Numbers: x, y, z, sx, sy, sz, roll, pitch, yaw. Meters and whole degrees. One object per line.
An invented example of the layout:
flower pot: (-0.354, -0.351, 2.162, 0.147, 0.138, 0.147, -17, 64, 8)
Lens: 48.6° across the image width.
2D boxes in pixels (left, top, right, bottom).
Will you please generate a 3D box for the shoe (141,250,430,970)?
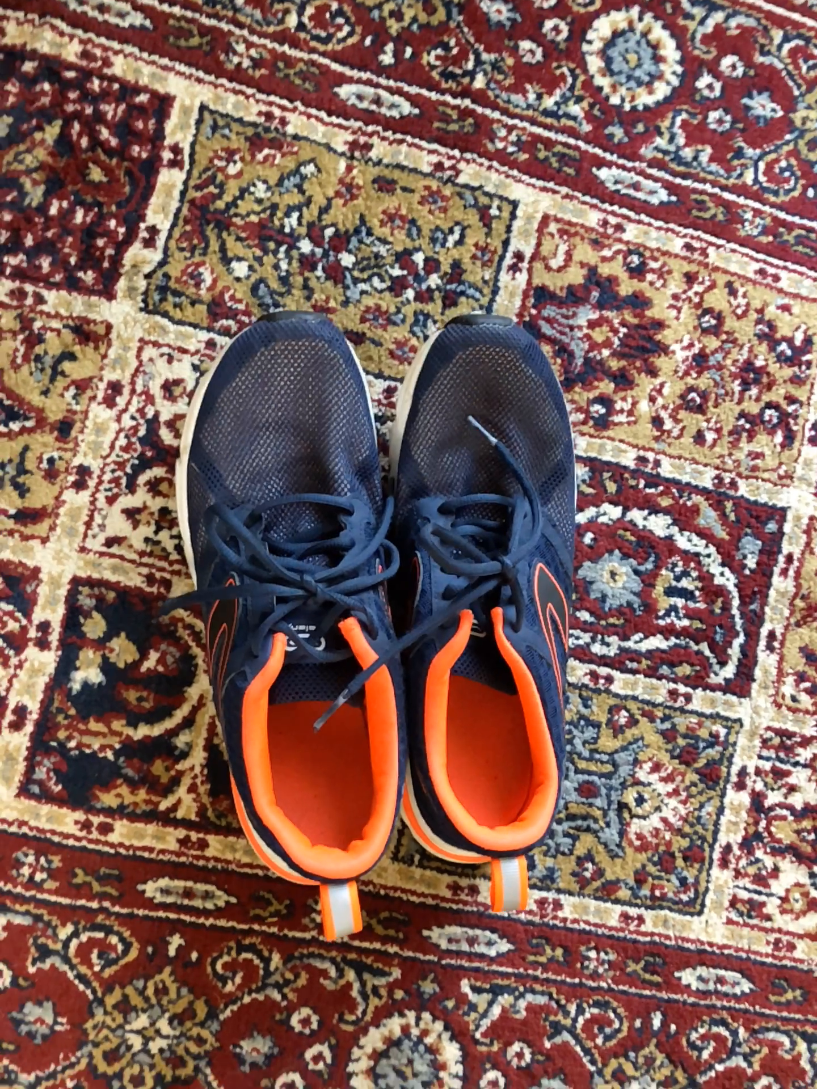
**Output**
shoe: (-0.066, 0.027, 0.487, 0.120, 0.130, 0.330, -3, 89, -8)

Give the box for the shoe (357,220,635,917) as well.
shoe: (0.041, 0.012, 0.501, 0.120, 0.130, 0.330, 2, 88, -8)
